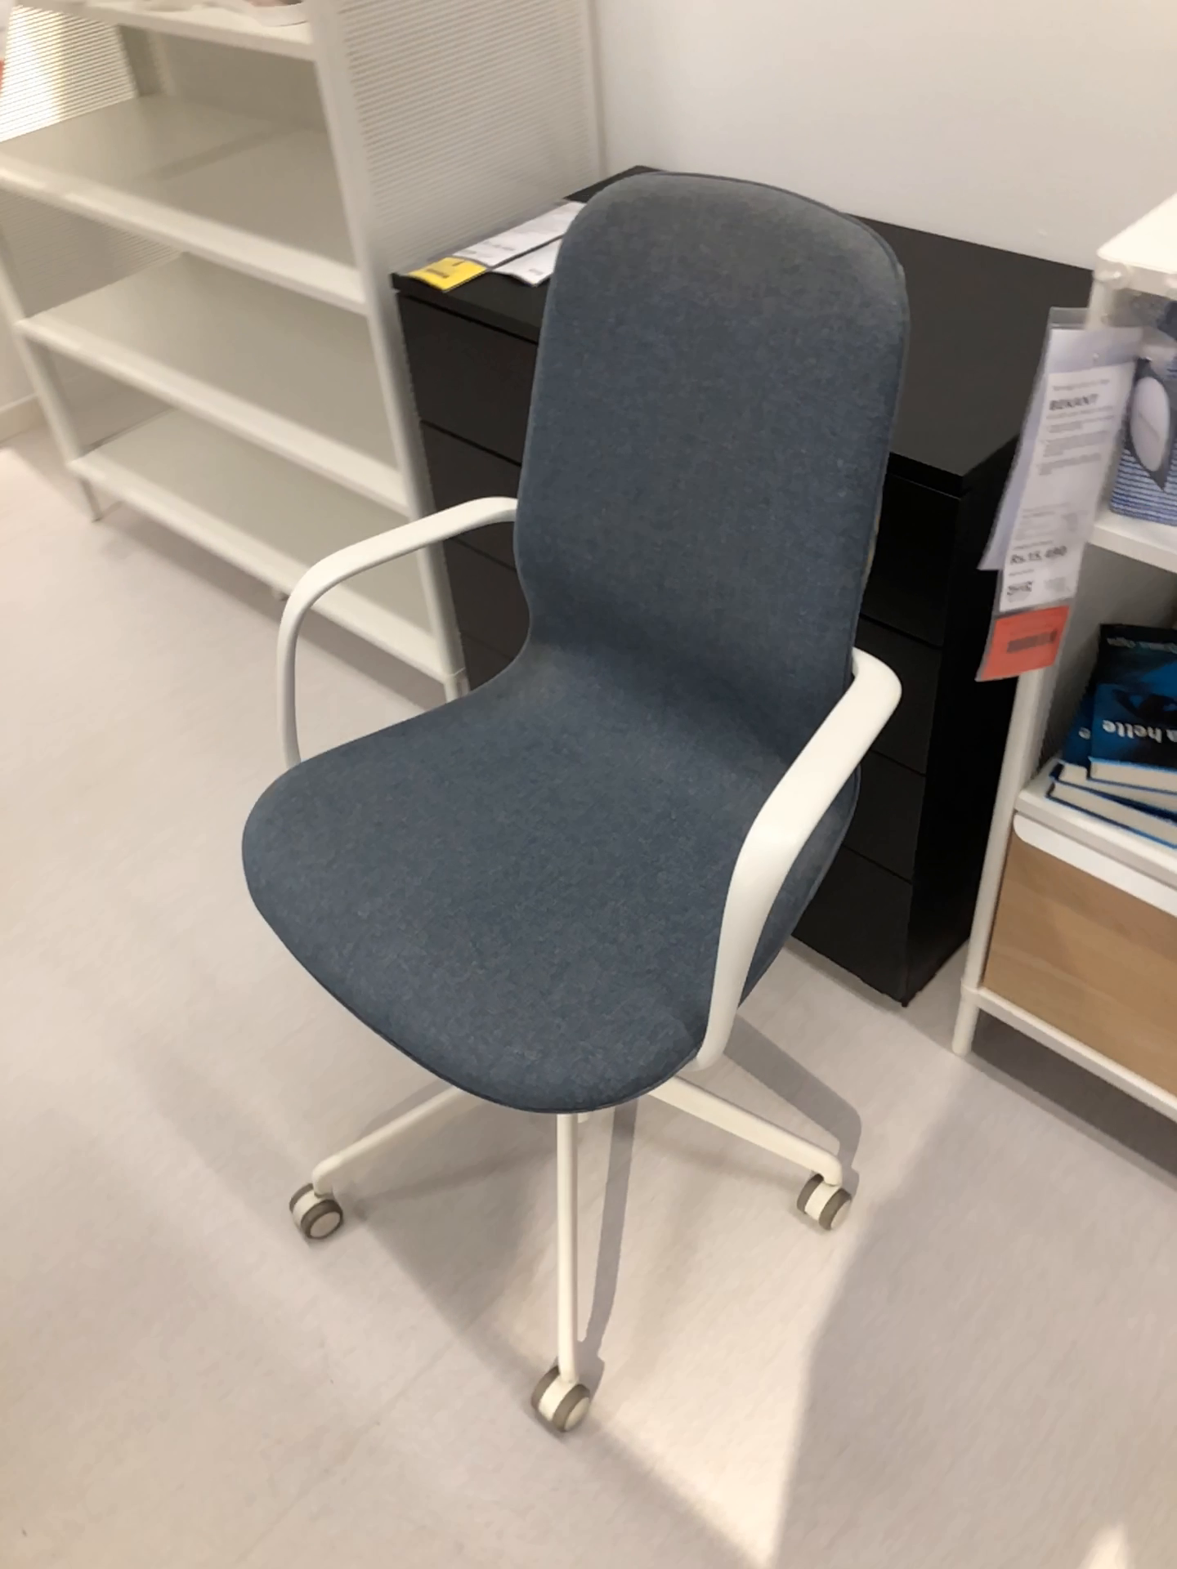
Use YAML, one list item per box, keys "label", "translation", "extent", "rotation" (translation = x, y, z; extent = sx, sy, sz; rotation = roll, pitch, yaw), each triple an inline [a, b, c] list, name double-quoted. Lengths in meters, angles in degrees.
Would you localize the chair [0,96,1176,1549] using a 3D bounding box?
- label: "chair"
  translation: [-0.082, 0.045, 1.216]
  extent: [0.700, 0.993, 0.704]
  rotation: [-18, 44, -12]
